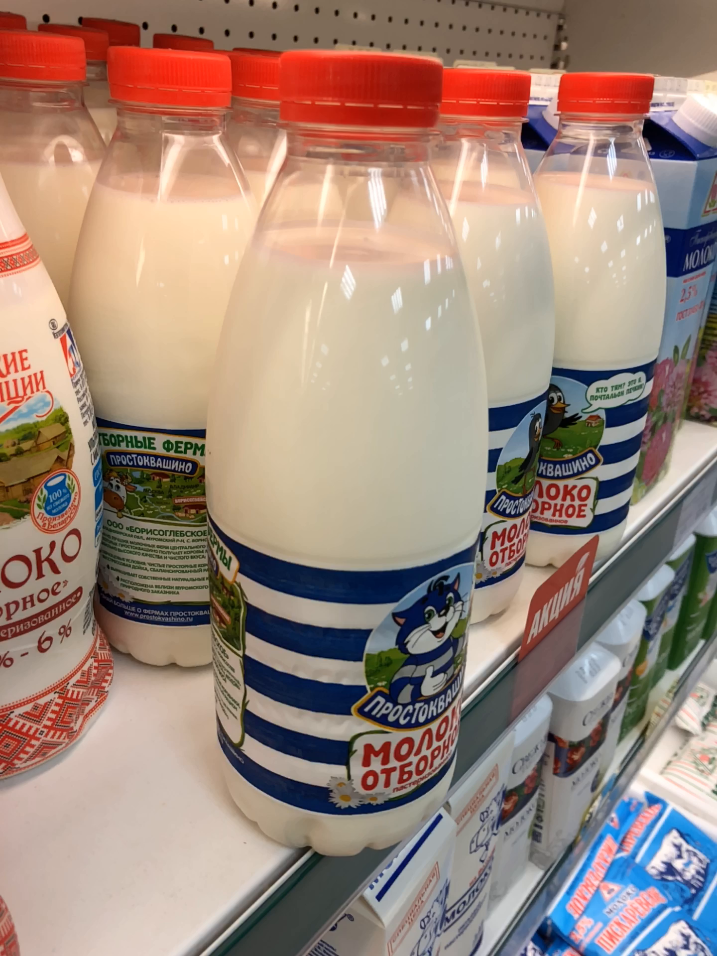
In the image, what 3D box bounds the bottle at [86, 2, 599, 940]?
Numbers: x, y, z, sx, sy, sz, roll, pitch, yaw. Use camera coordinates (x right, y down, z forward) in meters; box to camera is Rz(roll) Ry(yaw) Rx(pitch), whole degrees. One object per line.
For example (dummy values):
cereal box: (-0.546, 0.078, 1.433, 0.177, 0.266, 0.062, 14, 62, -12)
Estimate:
bottle: (-0.004, 0.001, 0.232, 0.090, 0.228, 0.080, -19, 30, -37)
